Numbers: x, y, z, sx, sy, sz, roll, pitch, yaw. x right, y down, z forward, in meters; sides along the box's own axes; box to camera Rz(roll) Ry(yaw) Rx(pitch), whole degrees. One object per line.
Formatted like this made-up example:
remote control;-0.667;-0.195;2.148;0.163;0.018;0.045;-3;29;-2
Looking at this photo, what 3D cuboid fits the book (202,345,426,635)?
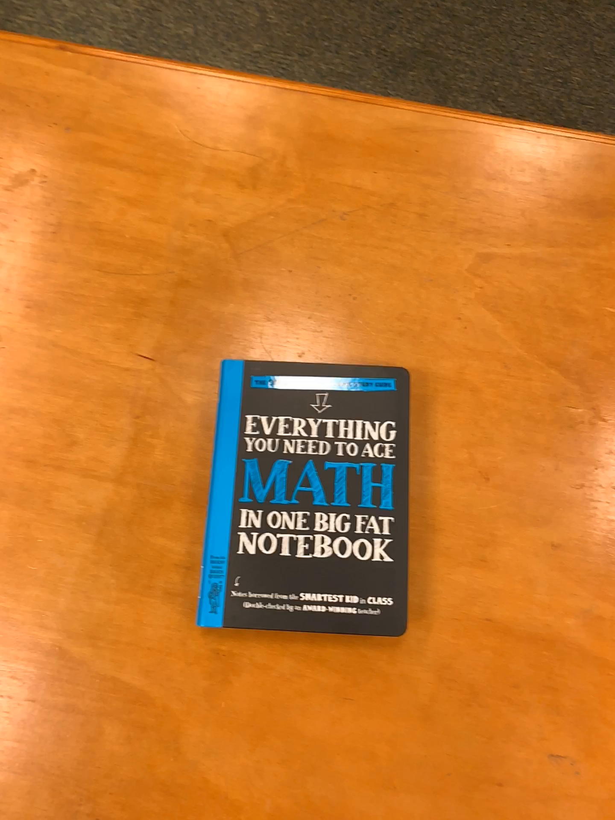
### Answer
book;0.008;0.061;0.501;0.157;0.050;0.208;4;80;-1
